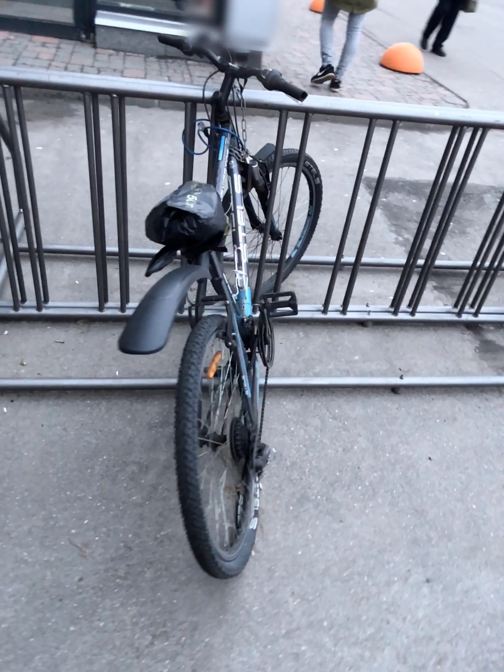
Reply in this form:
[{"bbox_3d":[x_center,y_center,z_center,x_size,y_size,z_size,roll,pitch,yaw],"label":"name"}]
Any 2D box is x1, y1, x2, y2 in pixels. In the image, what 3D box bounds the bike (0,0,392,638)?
[{"bbox_3d":[-0.058,-0.237,1.609,0.534,1.050,1.594,15,41,5],"label":"bike"}]
